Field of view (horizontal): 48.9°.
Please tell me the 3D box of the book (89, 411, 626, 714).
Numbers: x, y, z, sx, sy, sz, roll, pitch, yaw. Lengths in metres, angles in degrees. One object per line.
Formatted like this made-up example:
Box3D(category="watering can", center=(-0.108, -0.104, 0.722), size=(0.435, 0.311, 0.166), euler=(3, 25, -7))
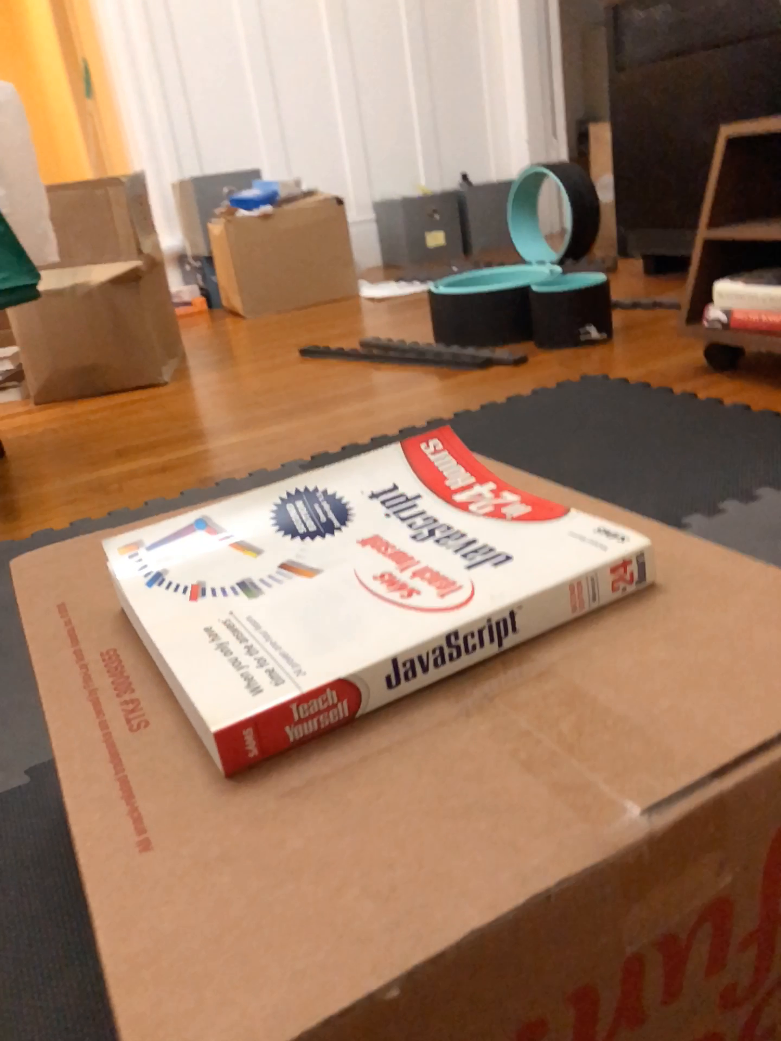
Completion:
Box3D(category="book", center=(-0.028, 0.002, 0.489), size=(0.240, 0.030, 0.201), euler=(-21, 25, -23))
